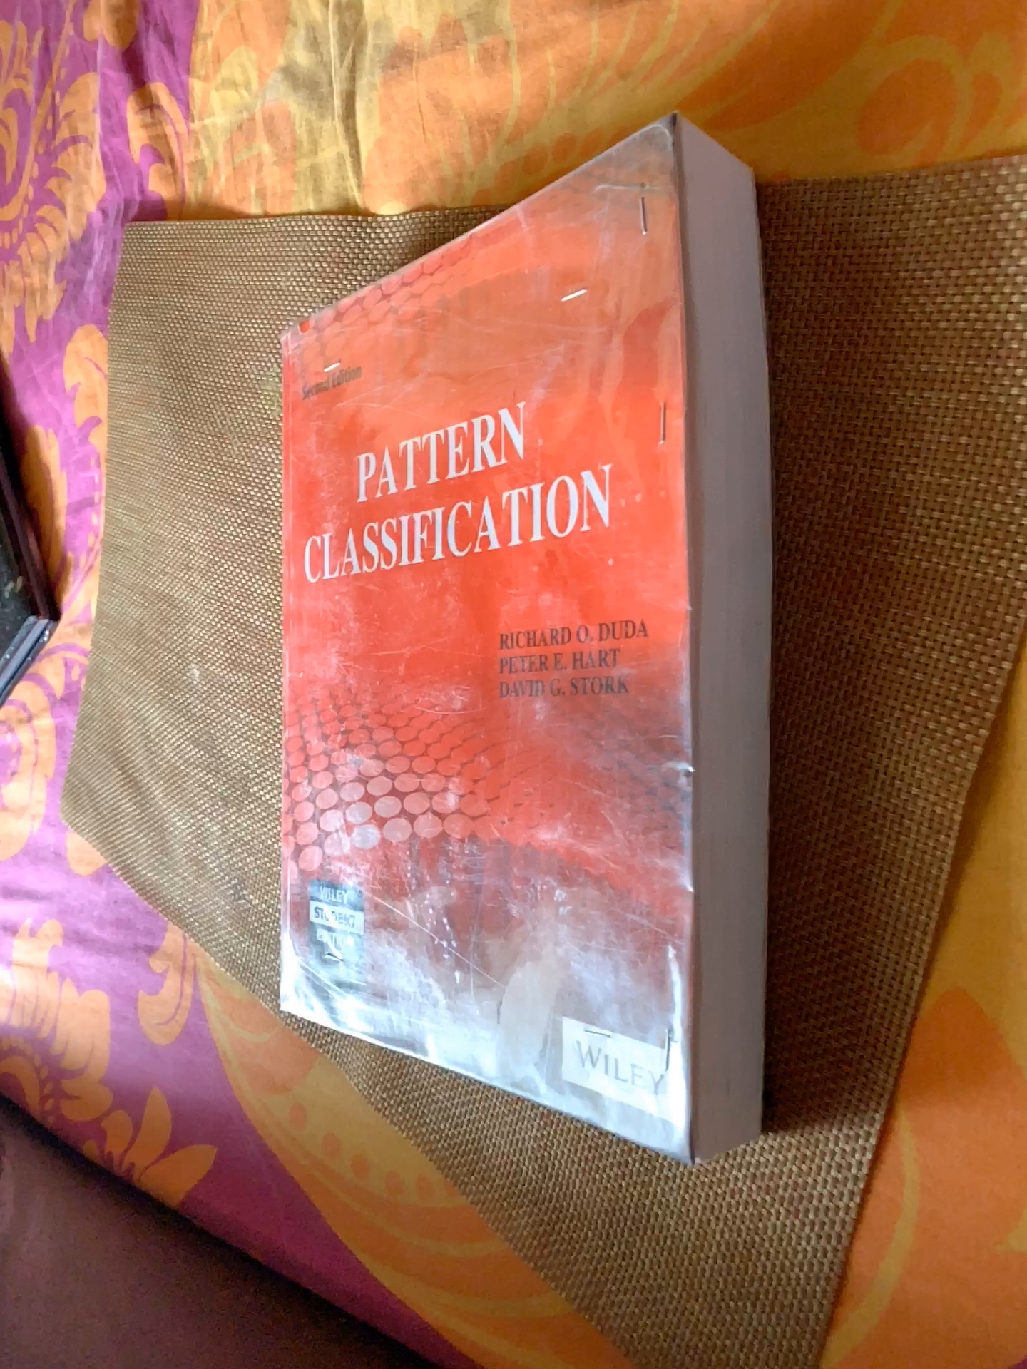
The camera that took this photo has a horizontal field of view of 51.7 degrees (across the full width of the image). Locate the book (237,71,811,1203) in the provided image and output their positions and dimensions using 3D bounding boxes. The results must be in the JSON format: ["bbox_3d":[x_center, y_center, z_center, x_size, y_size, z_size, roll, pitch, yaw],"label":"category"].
[{"bbox_3d":[-0.010,-0.010,0.293,0.181,0.040,0.230,-2,86,46],"label":"book"}]
